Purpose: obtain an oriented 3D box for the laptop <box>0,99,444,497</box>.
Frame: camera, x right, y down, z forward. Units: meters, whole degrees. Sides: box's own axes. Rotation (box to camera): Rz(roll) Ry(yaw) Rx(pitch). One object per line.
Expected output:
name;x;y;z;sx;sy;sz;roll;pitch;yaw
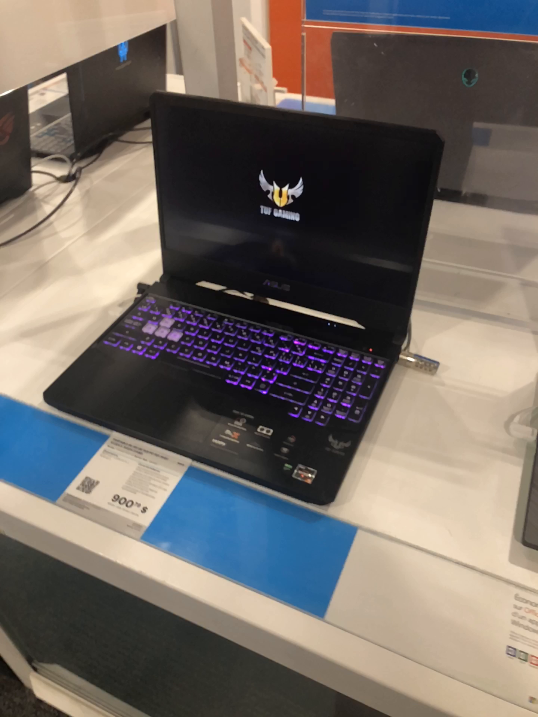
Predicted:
laptop;-0.041;-0.092;0.650;0.350;0.235;0.302;16;45;20
